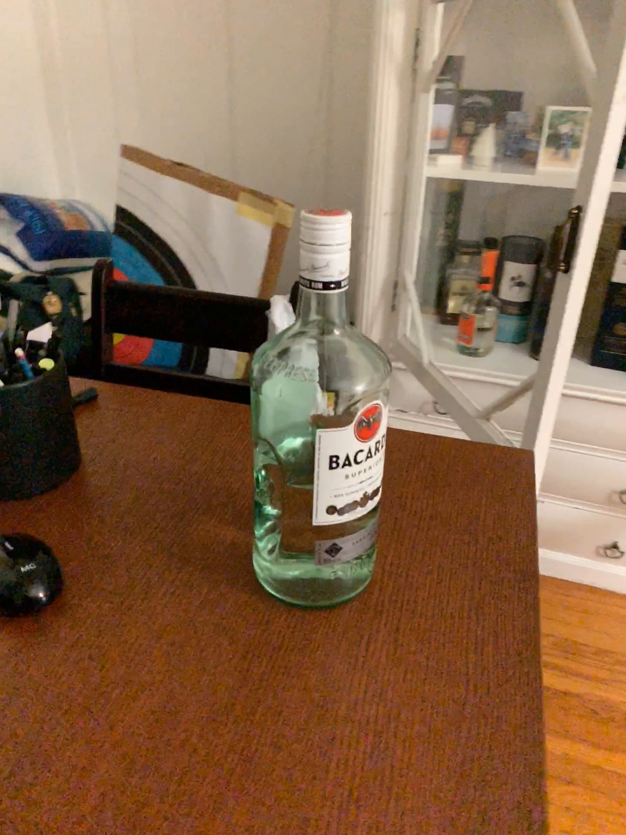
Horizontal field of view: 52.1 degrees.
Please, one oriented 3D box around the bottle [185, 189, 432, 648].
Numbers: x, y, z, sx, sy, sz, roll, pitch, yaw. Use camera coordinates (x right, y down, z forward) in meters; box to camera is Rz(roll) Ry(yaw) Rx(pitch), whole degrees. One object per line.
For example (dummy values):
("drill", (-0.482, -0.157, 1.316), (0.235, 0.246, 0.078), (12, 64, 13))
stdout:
("bottle", (-0.007, 0.002, 0.518), (0.120, 0.328, 0.121), (1, 29, -1))
